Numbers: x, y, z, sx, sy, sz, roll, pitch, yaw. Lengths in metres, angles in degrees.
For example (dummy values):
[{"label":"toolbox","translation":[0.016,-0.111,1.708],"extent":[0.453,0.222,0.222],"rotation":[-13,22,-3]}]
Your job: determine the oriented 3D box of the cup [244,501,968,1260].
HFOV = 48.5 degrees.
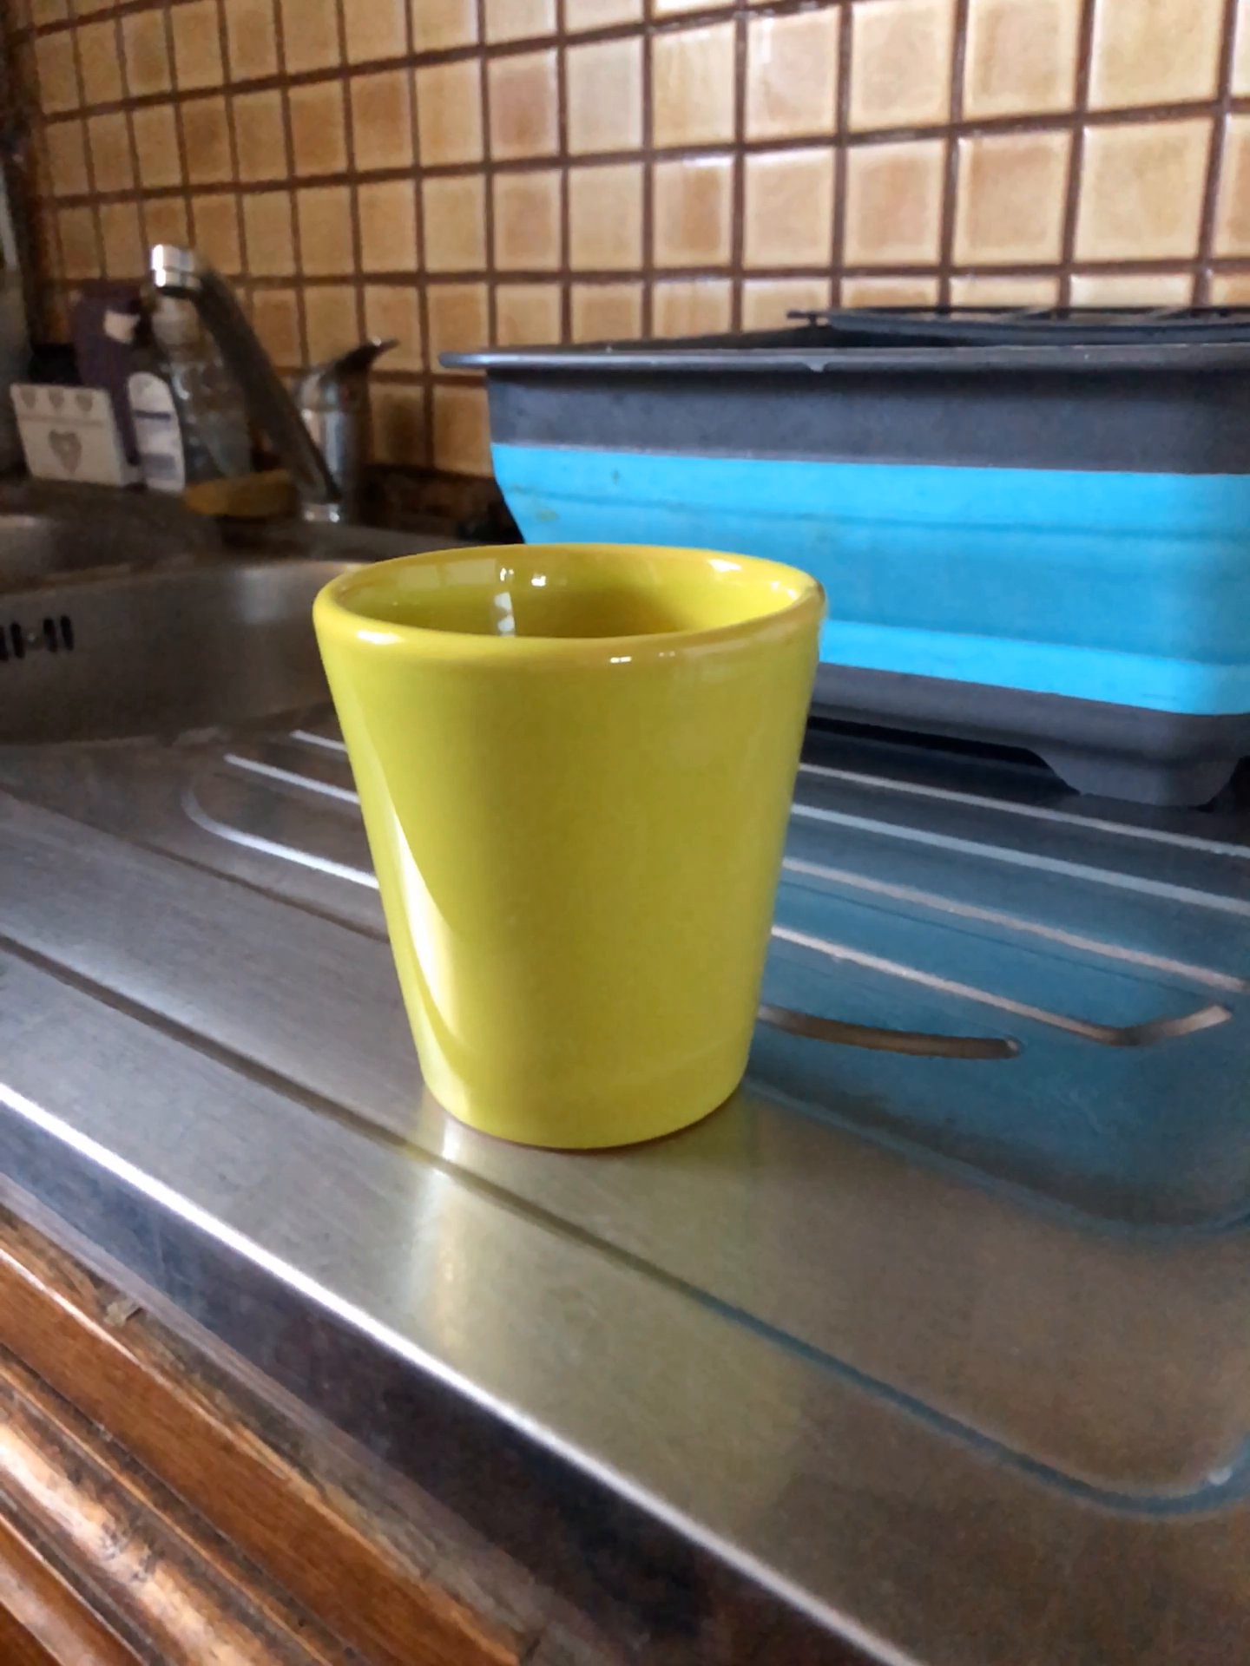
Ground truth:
[{"label":"cup","translation":[-0.002,-0.002,0.232],"extent":[0.080,0.090,0.080],"rotation":[-1,20,0]}]
